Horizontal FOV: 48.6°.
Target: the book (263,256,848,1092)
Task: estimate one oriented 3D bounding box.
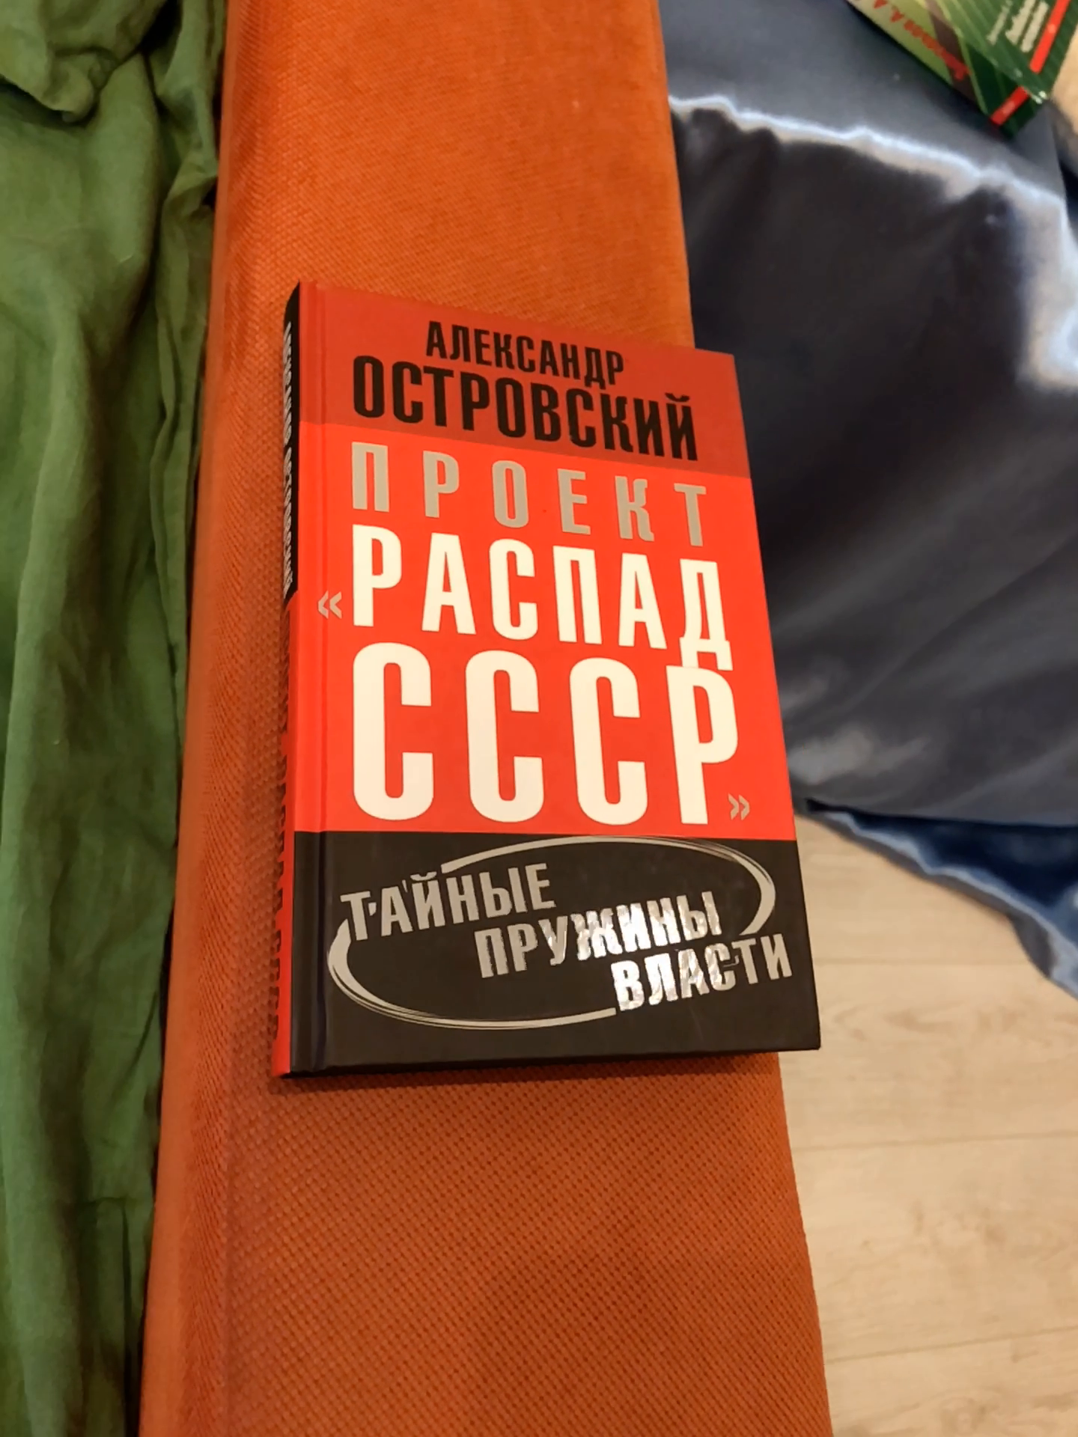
[{"bbox_3d":[0.000,-0.015,0.313,0.135,0.030,0.207,3,70,-19],"label":"book"}]
